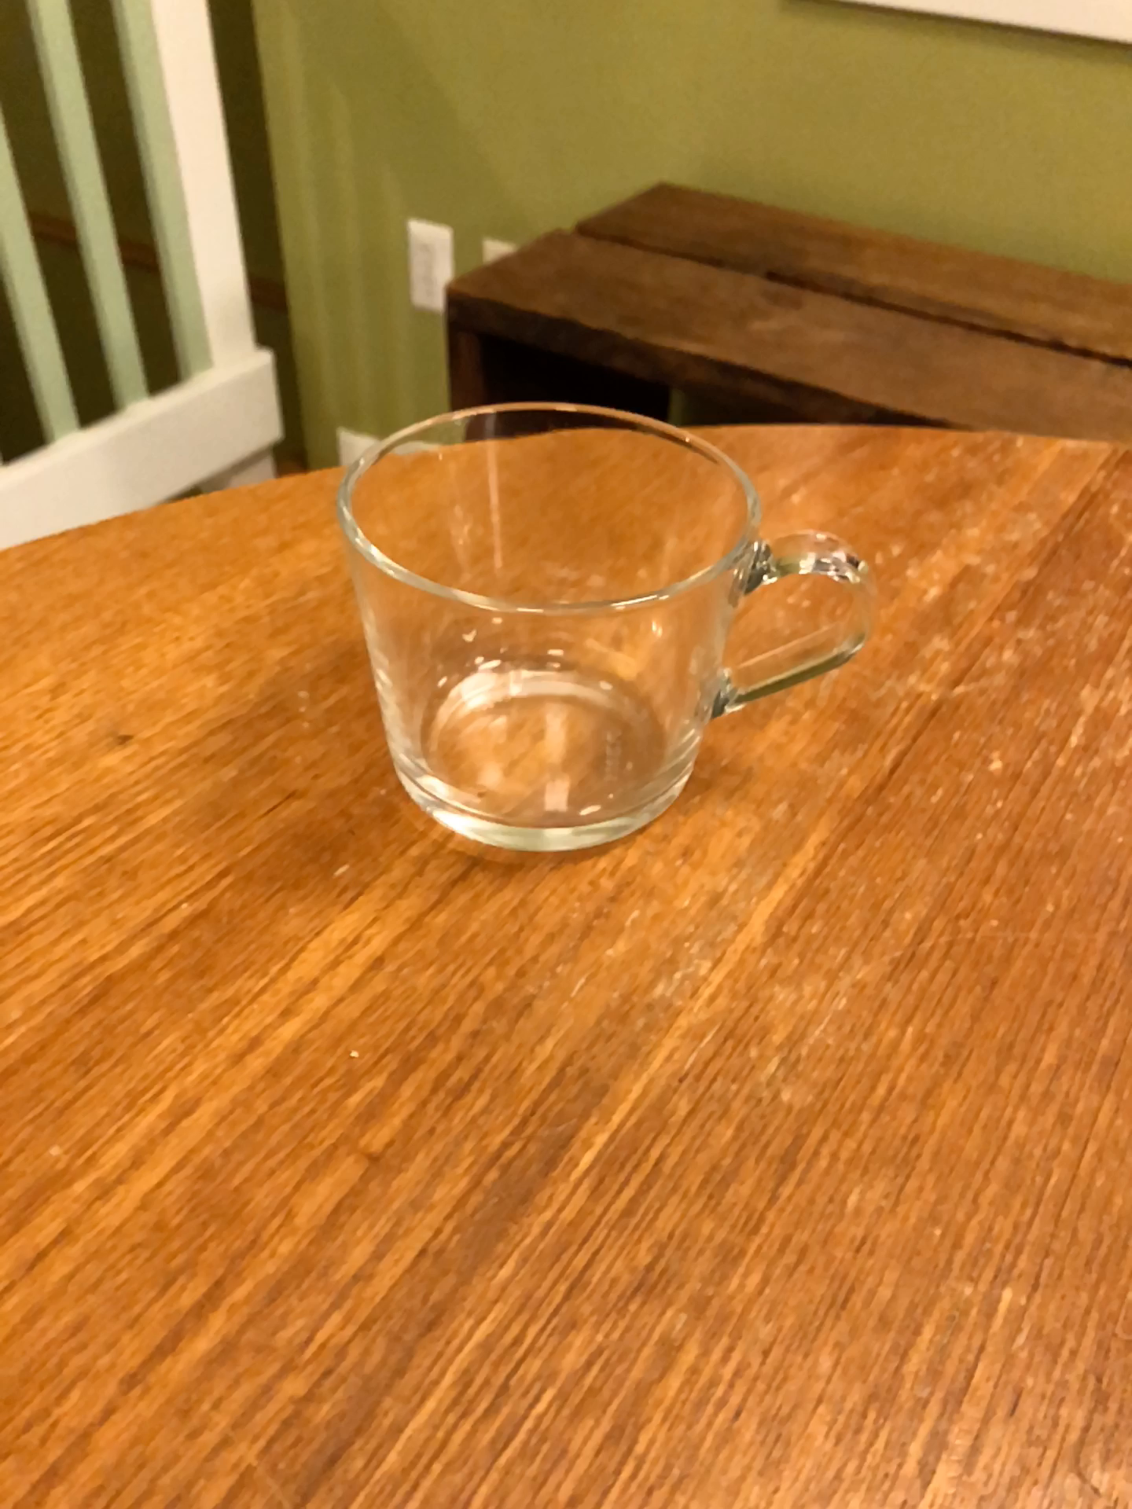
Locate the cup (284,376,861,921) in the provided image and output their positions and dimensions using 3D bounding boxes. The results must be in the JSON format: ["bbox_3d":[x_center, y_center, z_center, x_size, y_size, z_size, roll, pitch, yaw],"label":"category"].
[{"bbox_3d":[0.005,-0.031,0.327,0.120,0.089,0.101,5,40,4],"label":"cup"}]
